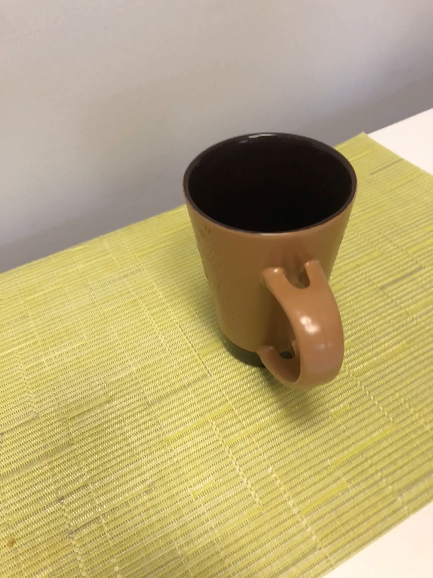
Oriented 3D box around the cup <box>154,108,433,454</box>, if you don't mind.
[{"bbox_3d":[0.032,-0.007,0.267,0.090,0.119,0.127,-15,46,-9],"label":"cup"}]
